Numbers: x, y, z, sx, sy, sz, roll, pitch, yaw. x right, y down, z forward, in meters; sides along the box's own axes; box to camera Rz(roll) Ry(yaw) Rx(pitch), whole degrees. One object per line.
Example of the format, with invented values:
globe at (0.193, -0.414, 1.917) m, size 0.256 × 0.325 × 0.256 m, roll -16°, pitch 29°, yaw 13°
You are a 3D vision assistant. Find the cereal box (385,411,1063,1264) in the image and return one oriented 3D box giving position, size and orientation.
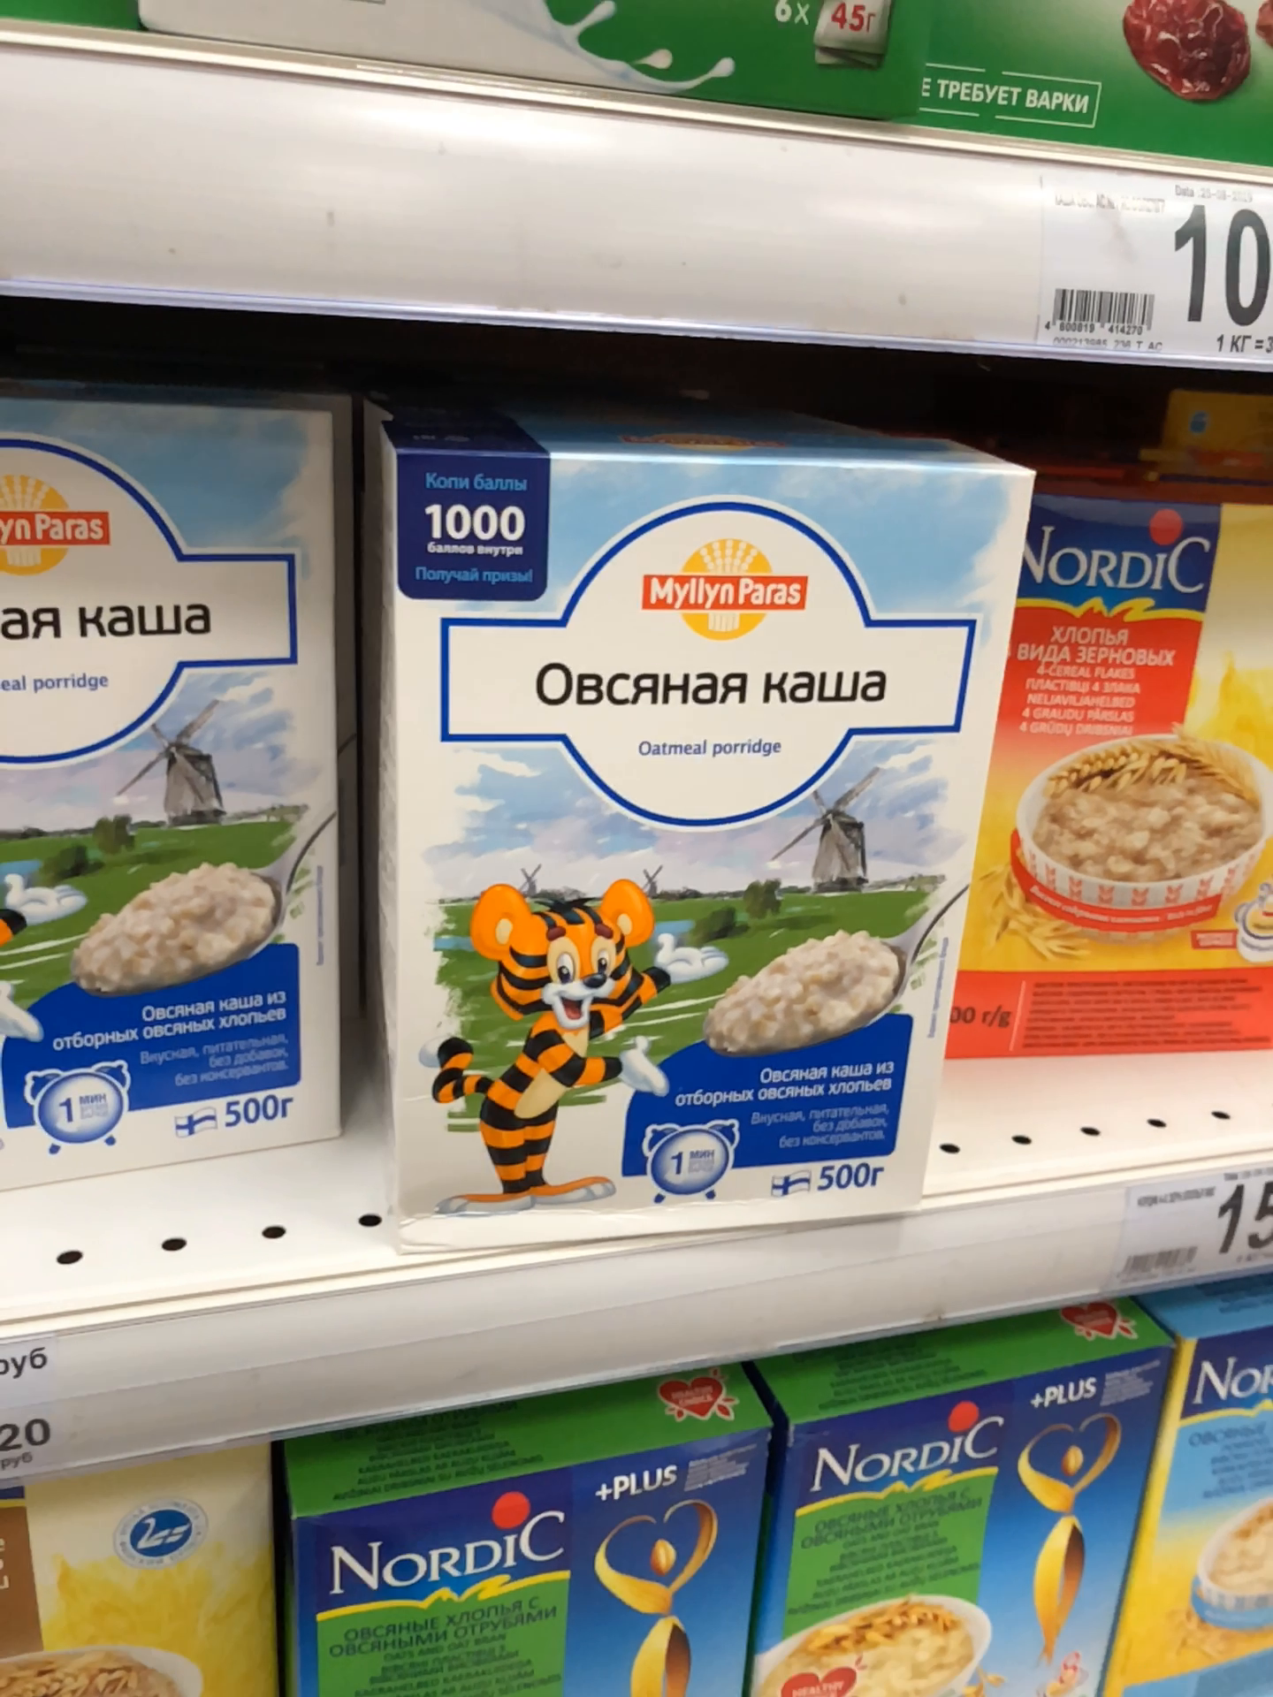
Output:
cereal box at (0.012, 0.001, 0.370) m, size 0.150 × 0.209 × 0.050 m, roll 0°, pitch 22°, yaw -12°
